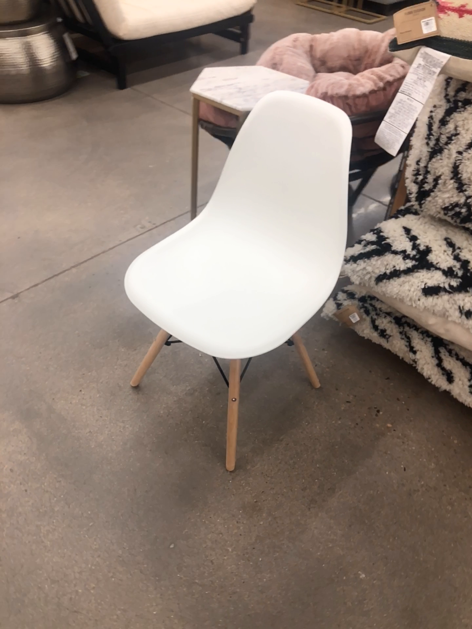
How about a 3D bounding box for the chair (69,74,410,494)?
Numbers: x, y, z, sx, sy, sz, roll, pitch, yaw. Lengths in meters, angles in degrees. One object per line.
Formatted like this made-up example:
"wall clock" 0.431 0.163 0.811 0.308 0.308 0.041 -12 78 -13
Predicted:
"chair" -0.001 -0.071 1.308 0.441 0.806 0.532 34 50 29
